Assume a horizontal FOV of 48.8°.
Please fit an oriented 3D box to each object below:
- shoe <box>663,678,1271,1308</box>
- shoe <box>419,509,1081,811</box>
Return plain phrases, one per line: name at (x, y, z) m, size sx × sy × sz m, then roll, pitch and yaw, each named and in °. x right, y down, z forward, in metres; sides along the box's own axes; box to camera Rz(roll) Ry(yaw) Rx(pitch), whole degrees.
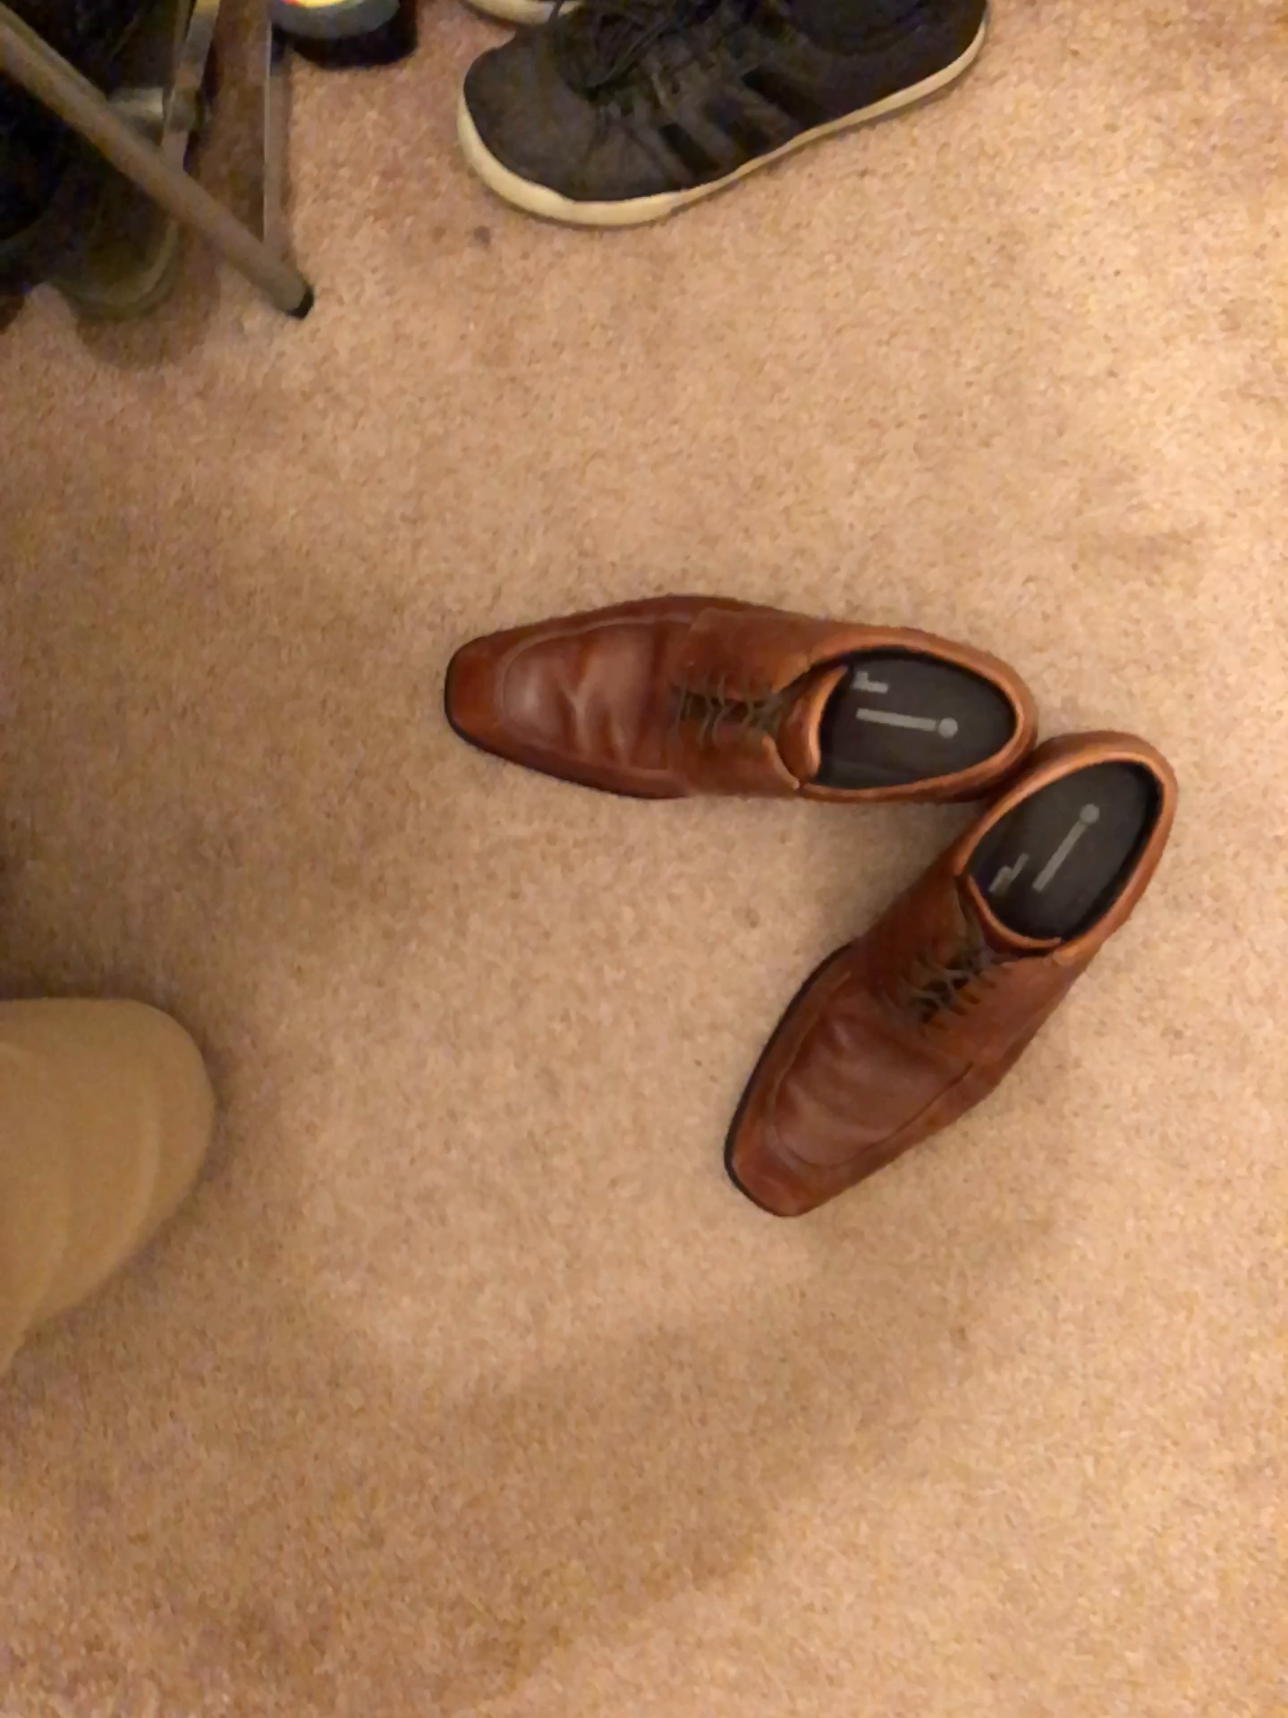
shoe at (0.151, 0.062, 0.707) m, size 0.100 × 0.110 × 0.300 m, roll 42°, pitch 95°, yaw 4°
shoe at (0.052, -0.097, 0.724) m, size 0.300 × 0.120 × 0.120 m, roll 5°, pitch 92°, yaw 6°
